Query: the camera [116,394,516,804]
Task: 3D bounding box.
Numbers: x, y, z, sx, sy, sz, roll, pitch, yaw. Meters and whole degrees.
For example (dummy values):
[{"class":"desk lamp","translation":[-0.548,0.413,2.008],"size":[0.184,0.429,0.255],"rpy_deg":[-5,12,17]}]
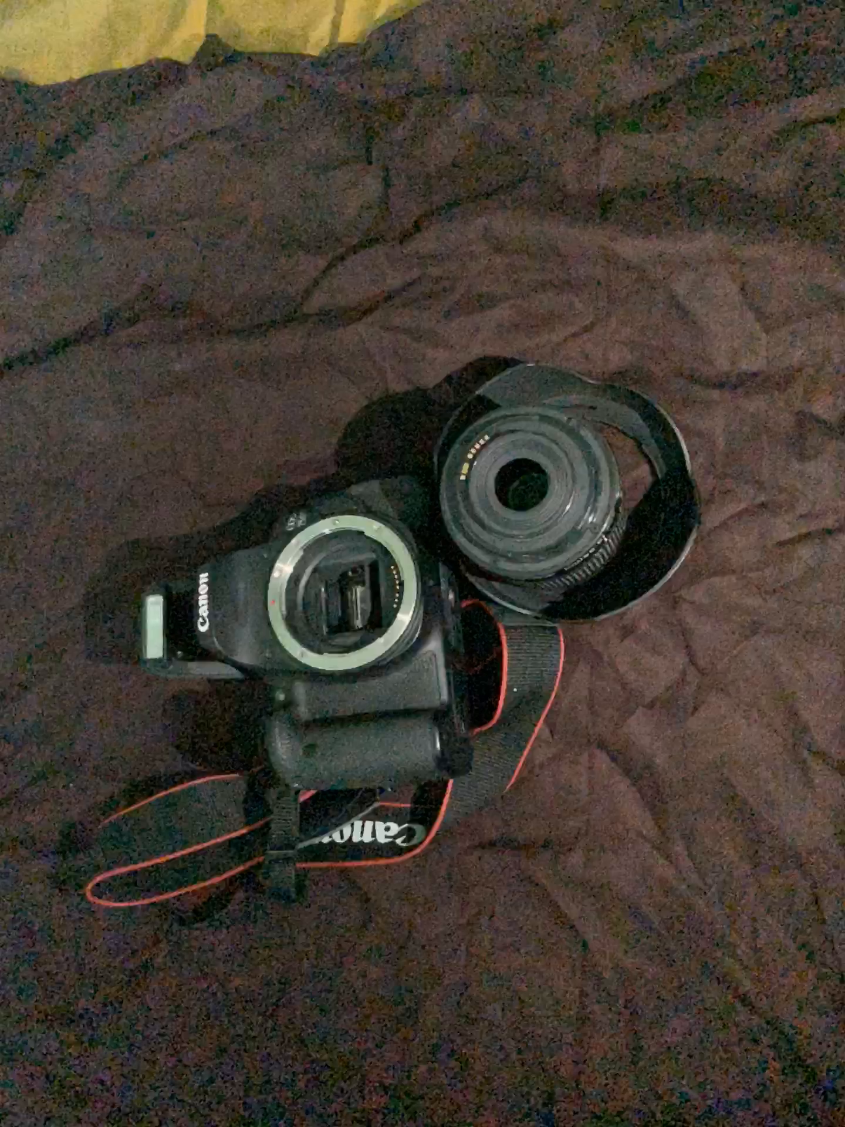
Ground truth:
[{"class":"camera","translation":[-0.047,0.023,0.395],"size":[0.150,0.083,0.147],"rpy_deg":[-10,70,11]}]
